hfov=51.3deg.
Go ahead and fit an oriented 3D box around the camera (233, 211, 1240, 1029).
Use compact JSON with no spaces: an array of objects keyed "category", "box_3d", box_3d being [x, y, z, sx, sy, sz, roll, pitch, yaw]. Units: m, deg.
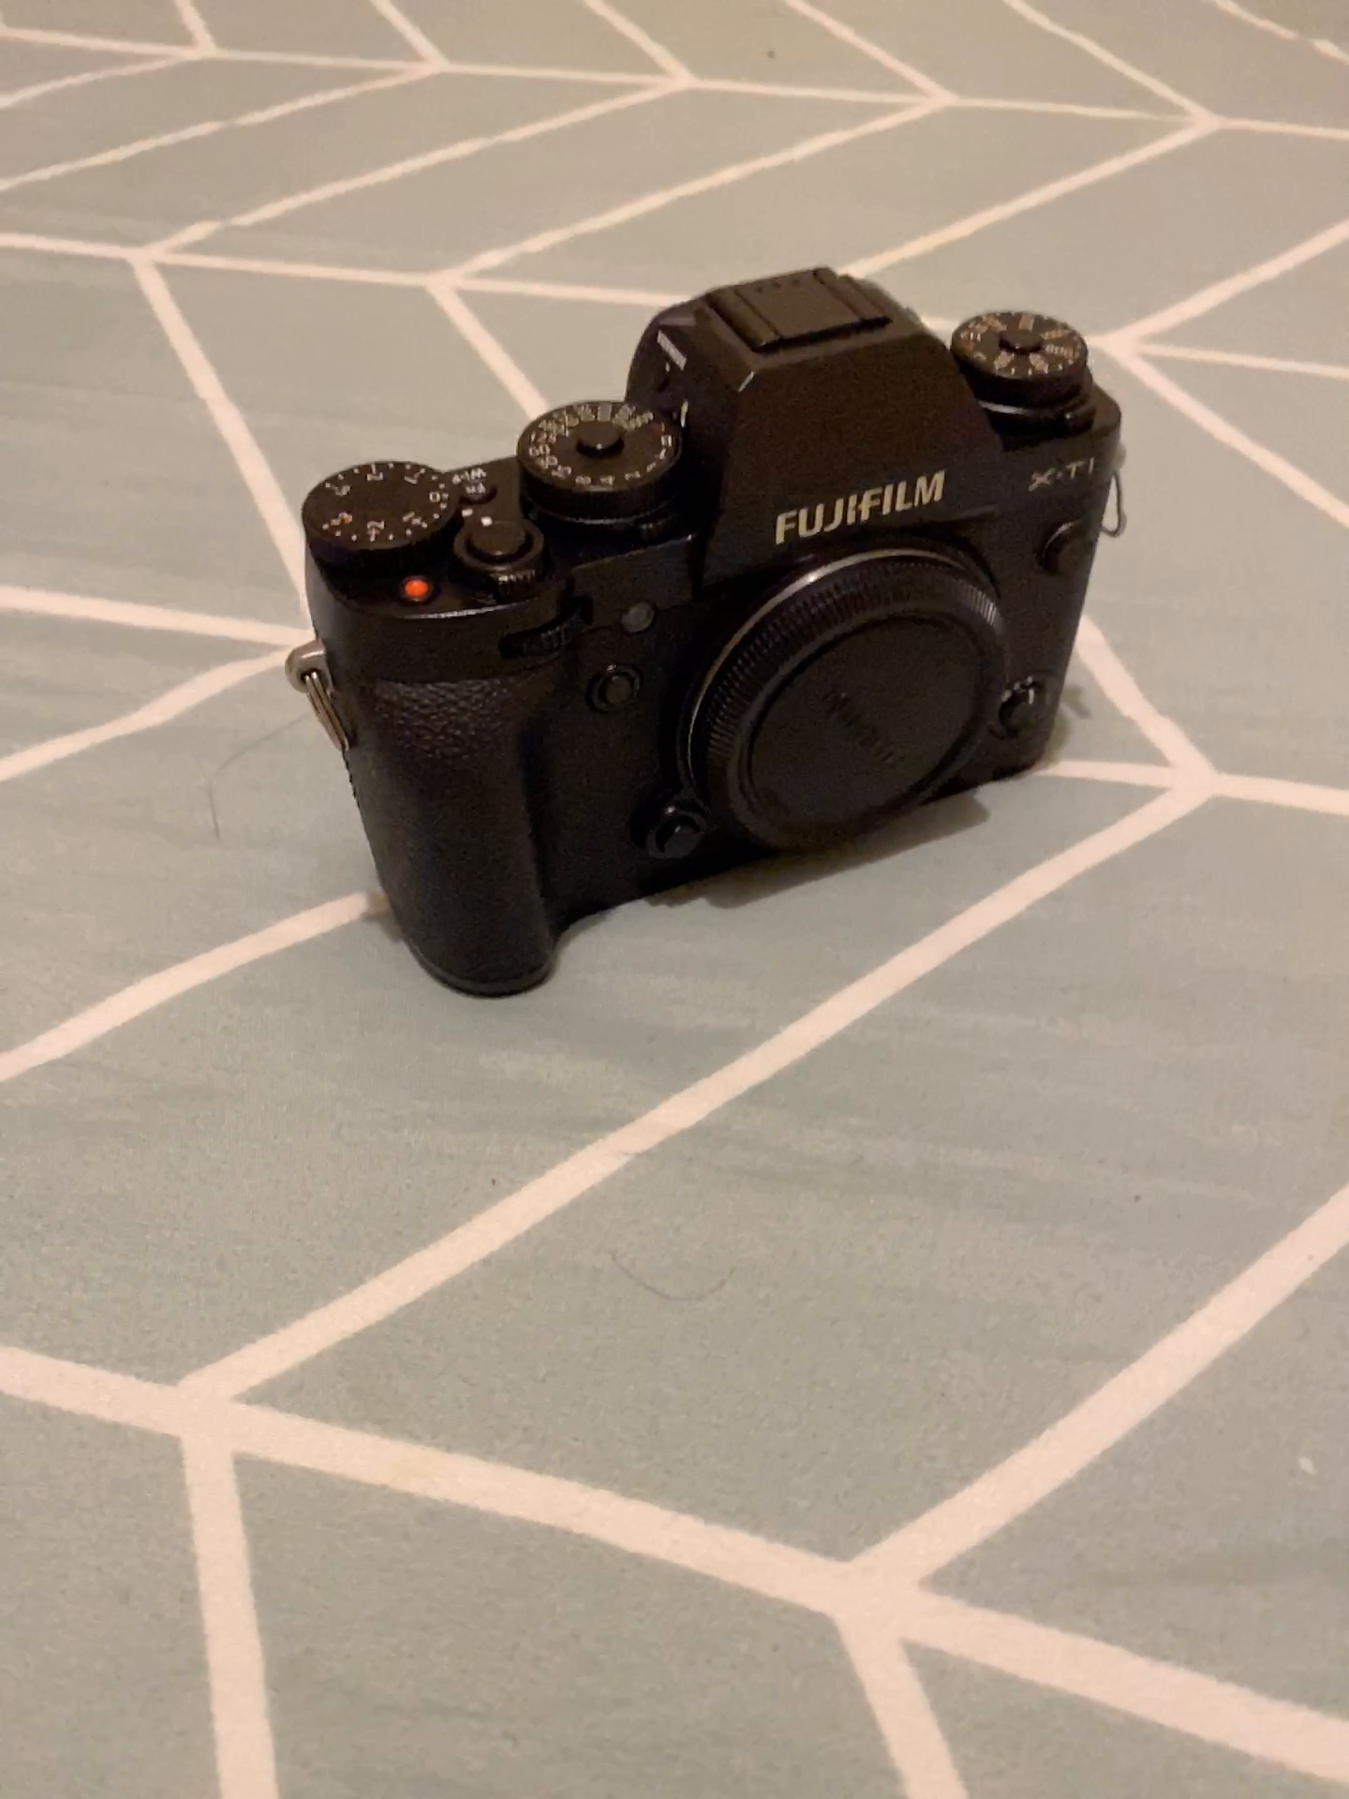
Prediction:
[{"category":"camera","box_3d":[0.009,-0.045,0.227,0.130,0.087,0.052,-18,51,-15]}]
